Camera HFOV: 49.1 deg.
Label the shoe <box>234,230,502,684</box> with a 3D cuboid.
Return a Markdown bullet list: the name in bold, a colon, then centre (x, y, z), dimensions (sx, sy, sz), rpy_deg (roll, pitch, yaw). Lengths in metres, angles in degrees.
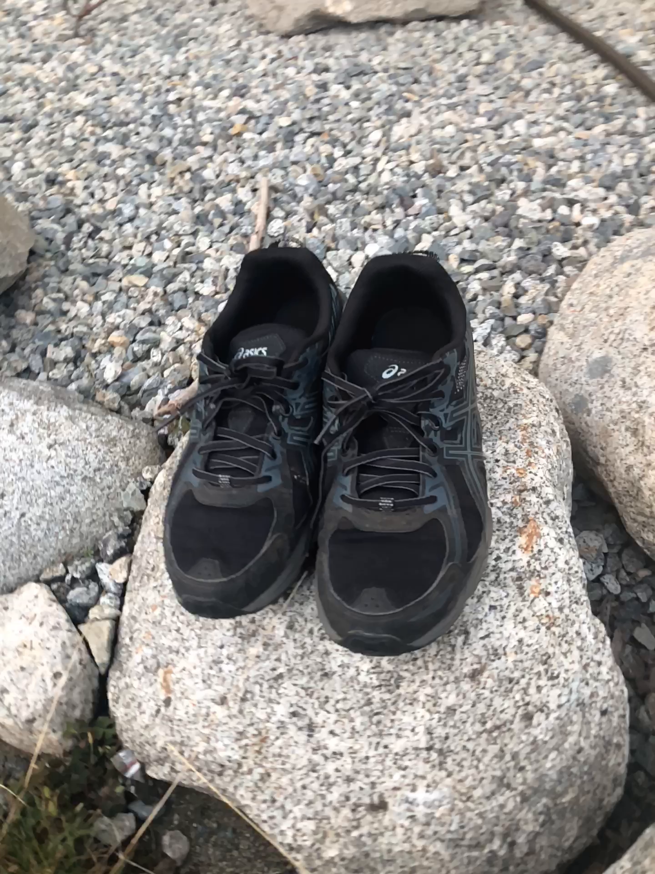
- **shoe**: centre (0.045, -0.009, 0.466), dimensions (0.120, 0.099, 0.292), rpy_deg (4, 49, 11)

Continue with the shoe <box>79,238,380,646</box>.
- **shoe**: centre (-0.044, -0.015, 0.499), dimensions (0.120, 0.099, 0.282), rpy_deg (4, 49, 11)
